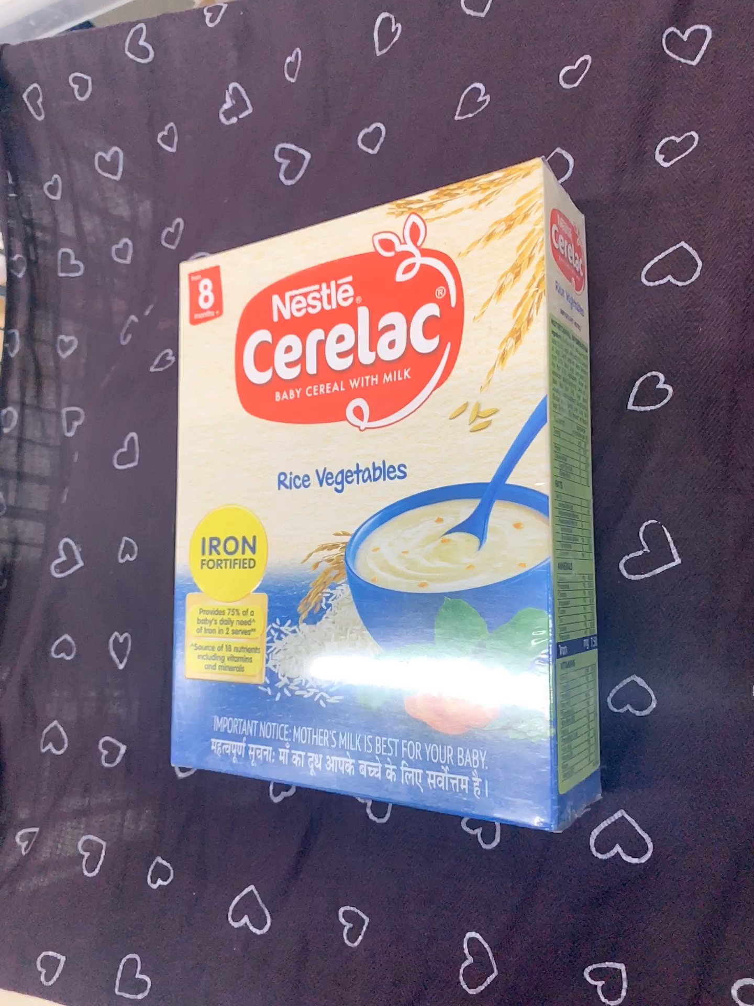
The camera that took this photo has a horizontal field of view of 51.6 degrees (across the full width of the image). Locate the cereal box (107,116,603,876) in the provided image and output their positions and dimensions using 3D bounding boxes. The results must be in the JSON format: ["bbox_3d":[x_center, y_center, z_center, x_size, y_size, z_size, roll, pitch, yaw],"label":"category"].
[{"bbox_3d":[-0.012,0.000,0.253,0.151,0.050,0.190,-4,82,31],"label":"cereal box"}]
